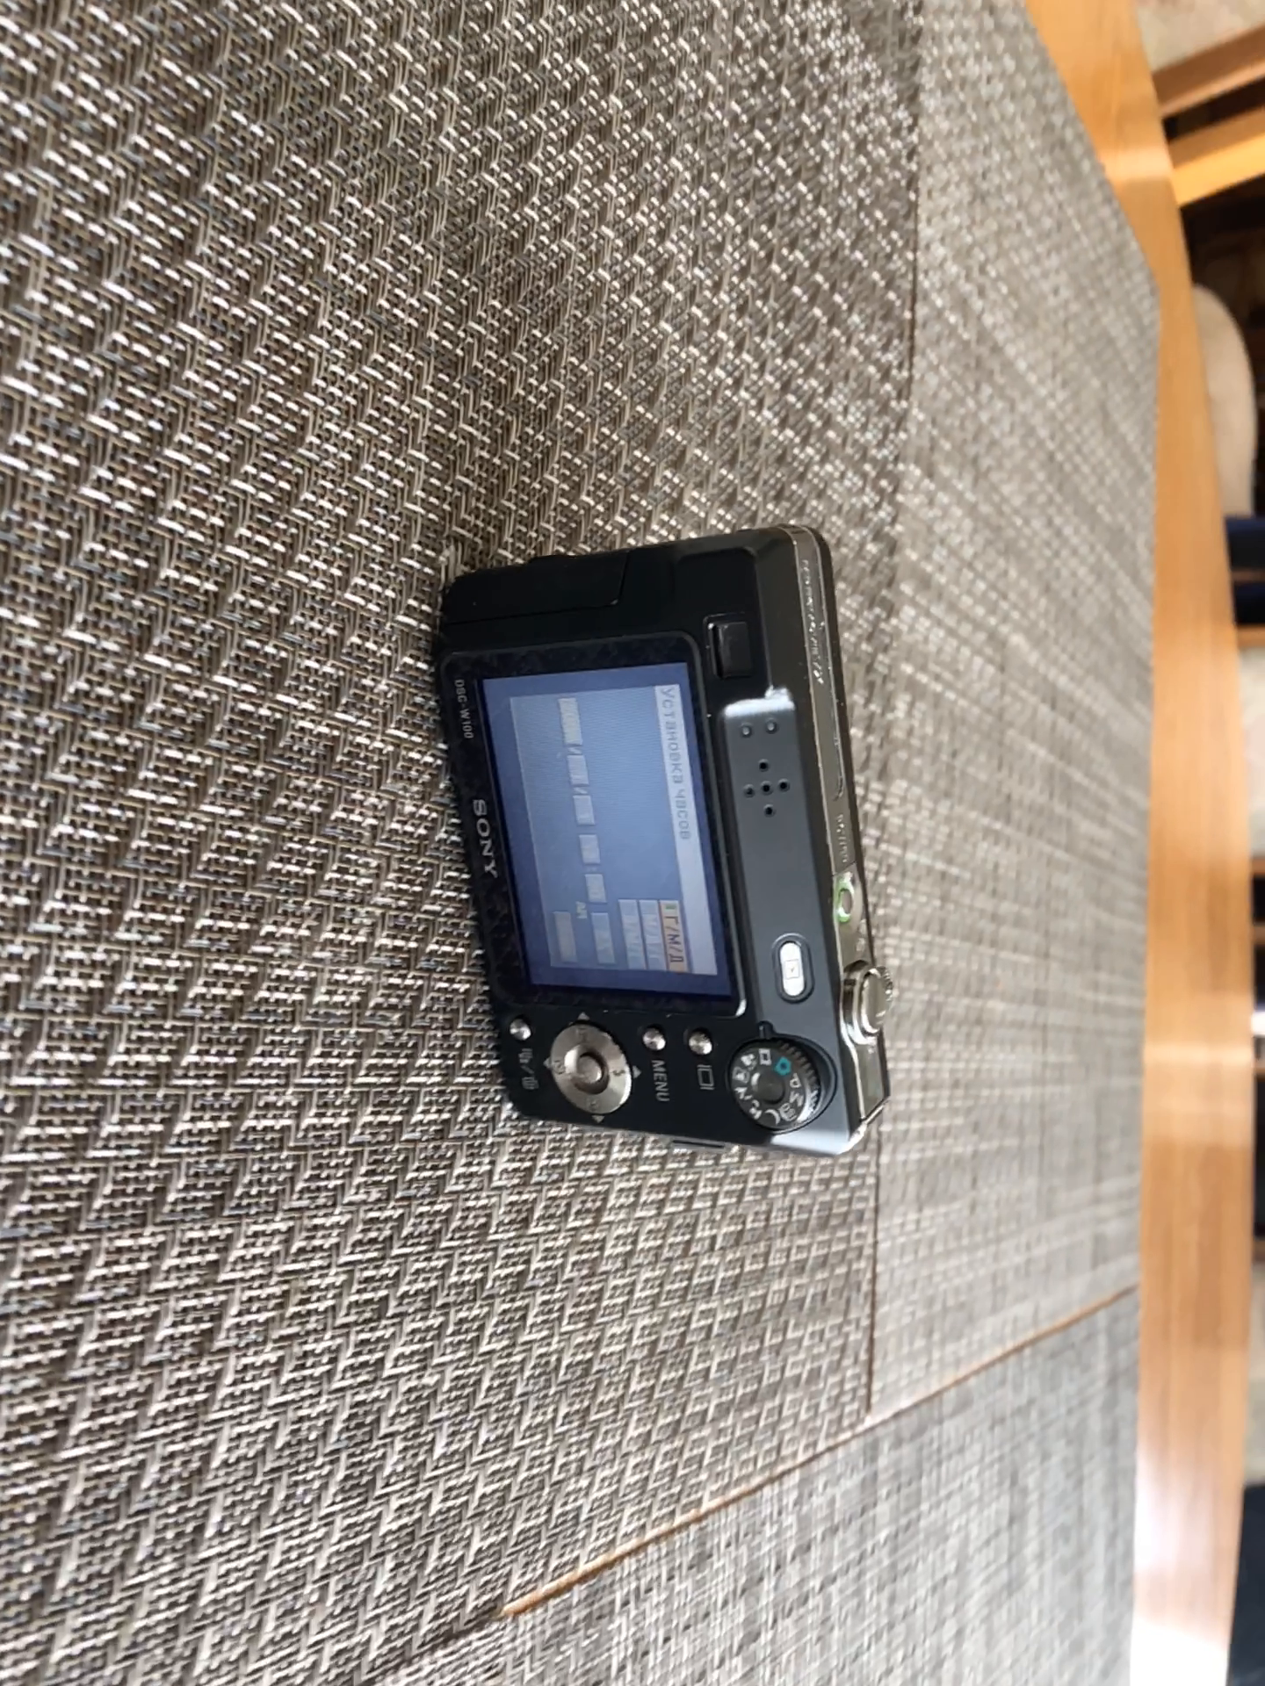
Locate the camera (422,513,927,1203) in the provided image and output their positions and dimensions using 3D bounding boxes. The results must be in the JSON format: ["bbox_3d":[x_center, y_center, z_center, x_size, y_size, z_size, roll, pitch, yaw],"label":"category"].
[{"bbox_3d":[0.009,0.000,0.227,0.049,0.052,0.095,-24,110,-55],"label":"camera"}]
